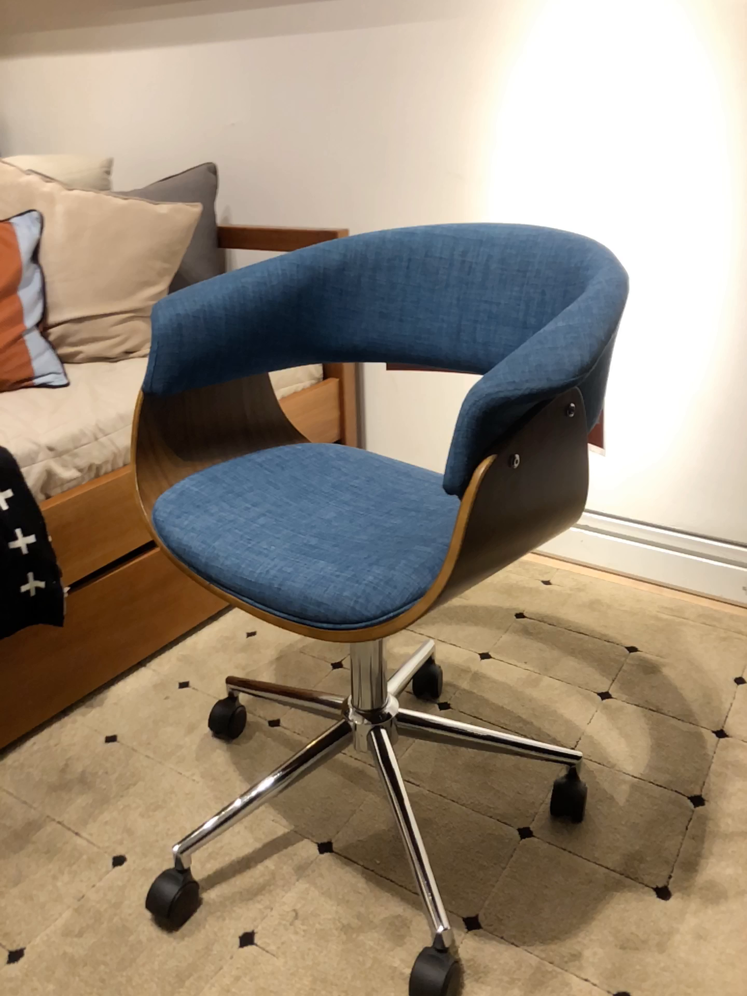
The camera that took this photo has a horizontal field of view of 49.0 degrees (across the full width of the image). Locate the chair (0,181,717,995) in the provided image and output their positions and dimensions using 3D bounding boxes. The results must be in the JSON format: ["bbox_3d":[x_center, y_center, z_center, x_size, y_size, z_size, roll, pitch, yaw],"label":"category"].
[{"bbox_3d":[-0.035,0.037,1.036,0.611,0.775,0.673,16,29,34],"label":"chair"}]
